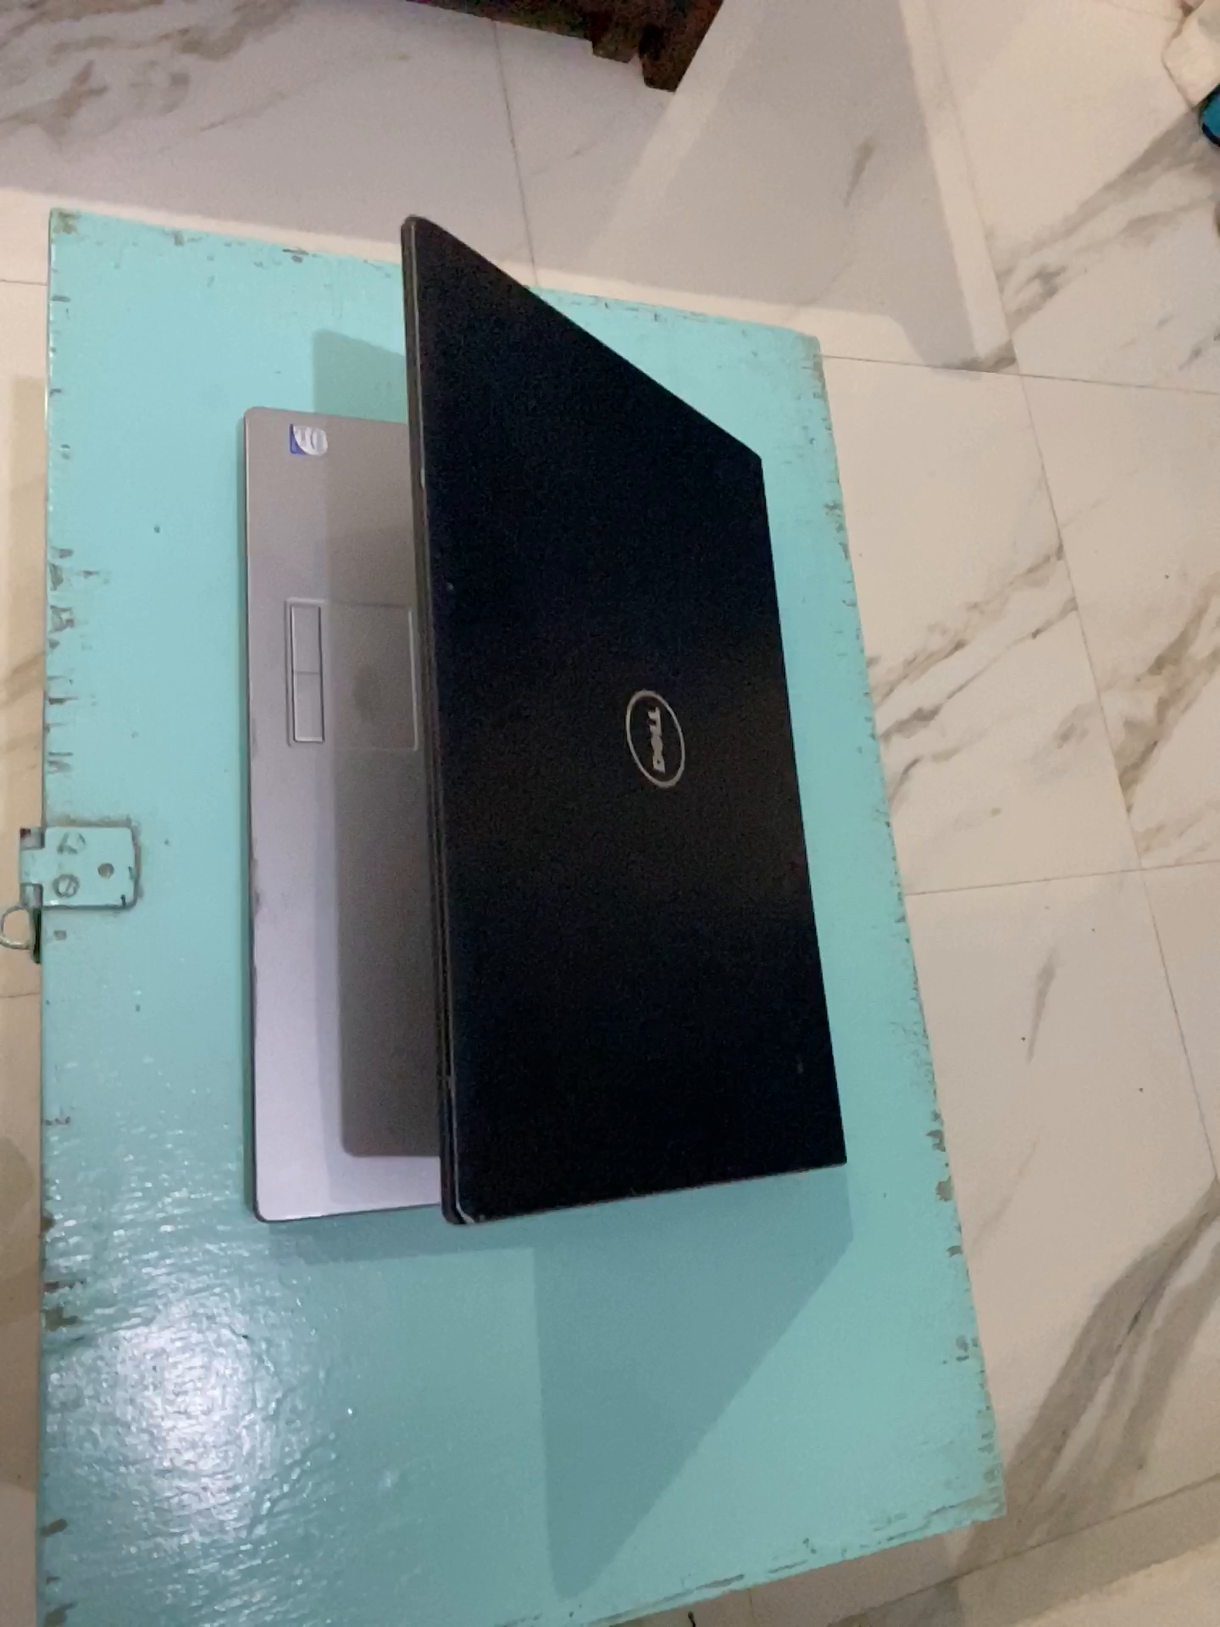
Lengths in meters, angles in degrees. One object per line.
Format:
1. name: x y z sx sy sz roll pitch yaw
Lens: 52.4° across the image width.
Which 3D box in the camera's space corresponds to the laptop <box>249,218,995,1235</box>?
1. laptop: -0.015 -0.031 0.562 0.261 0.152 0.387 0 75 -21
